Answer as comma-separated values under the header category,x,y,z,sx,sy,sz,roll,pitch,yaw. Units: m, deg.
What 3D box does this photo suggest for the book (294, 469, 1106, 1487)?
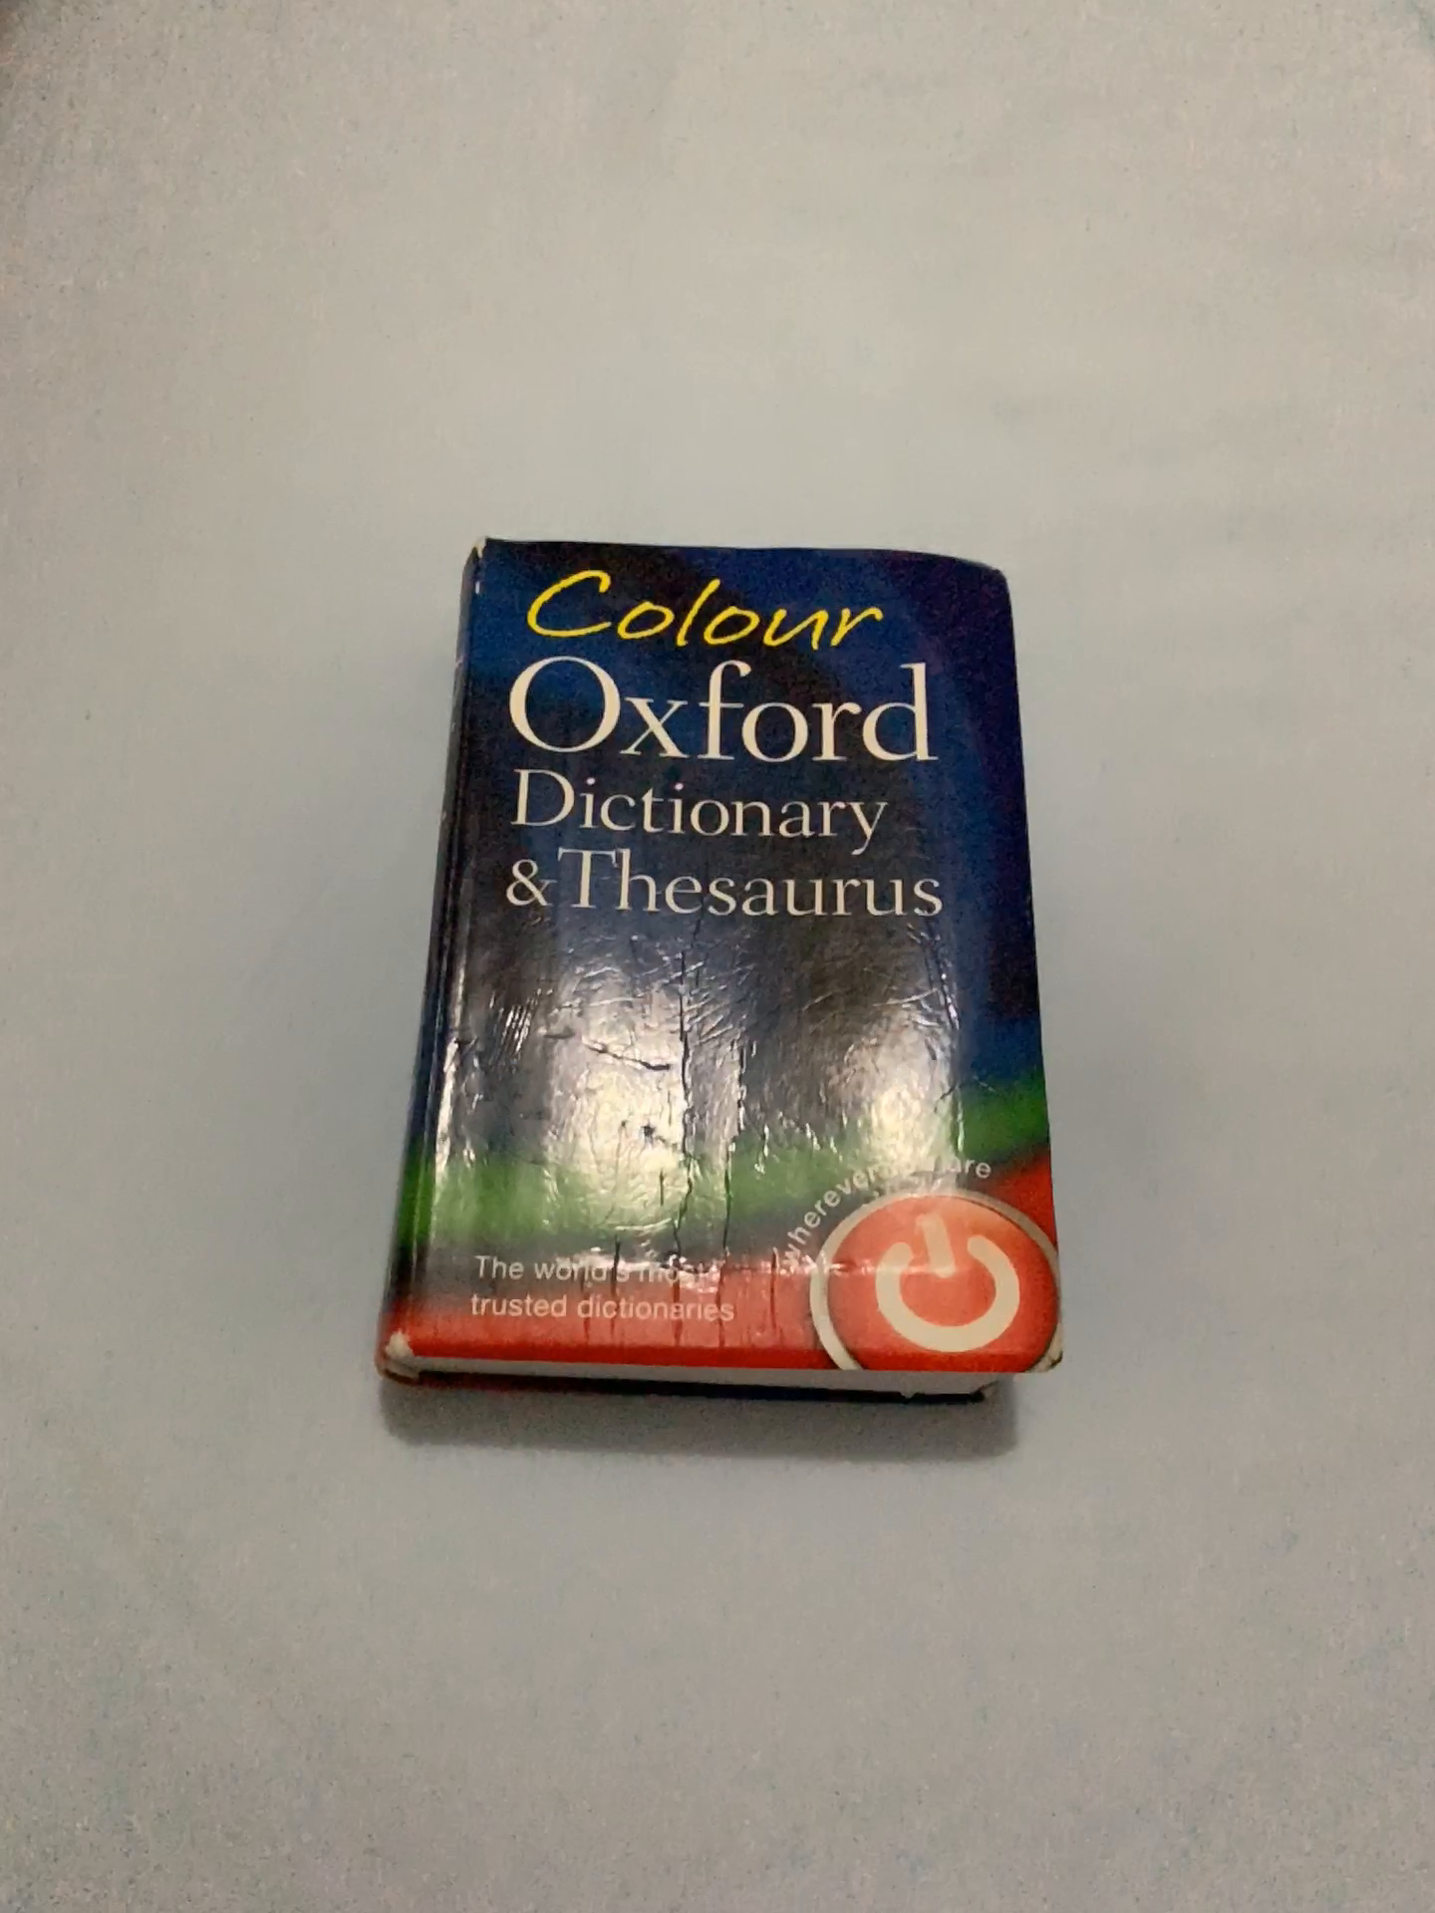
category,x,y,z,sx,sy,sz,roll,pitch,yaw
book,0.000,-0.002,0.271,0.120,0.040,0.181,0,69,4
